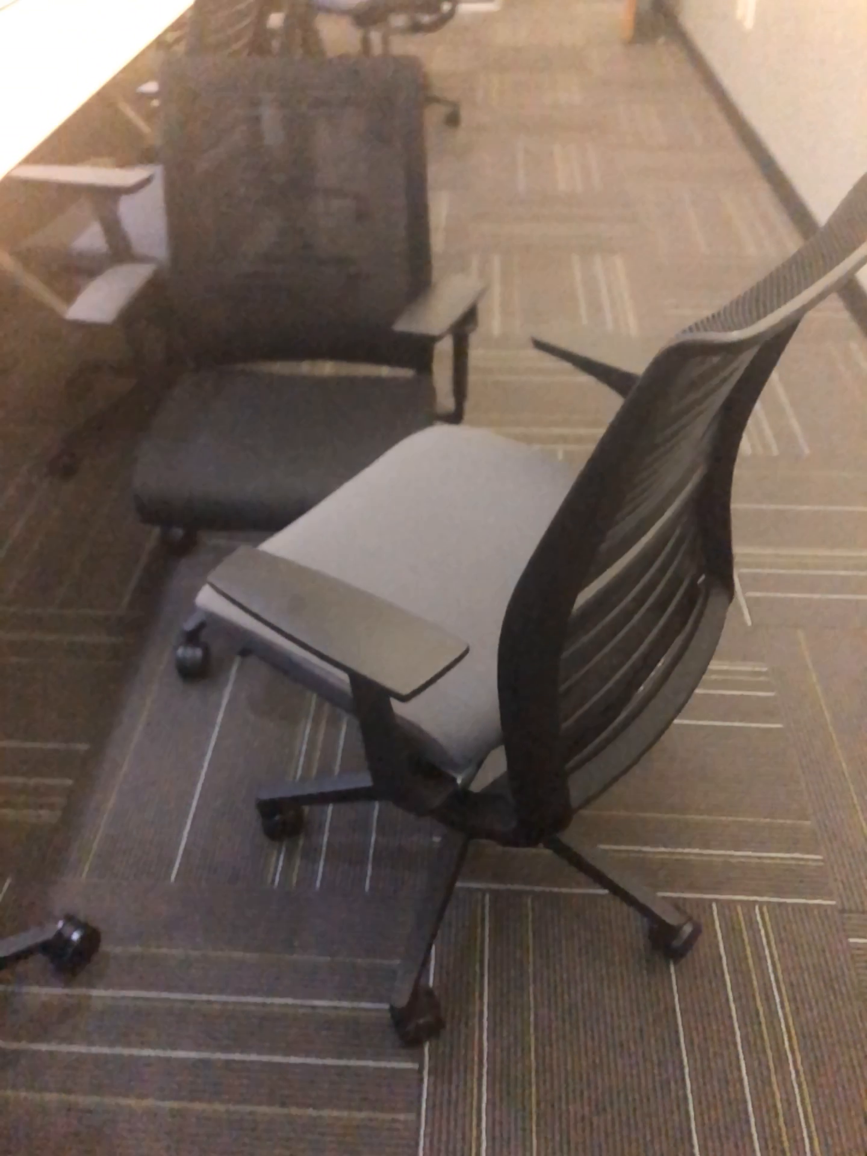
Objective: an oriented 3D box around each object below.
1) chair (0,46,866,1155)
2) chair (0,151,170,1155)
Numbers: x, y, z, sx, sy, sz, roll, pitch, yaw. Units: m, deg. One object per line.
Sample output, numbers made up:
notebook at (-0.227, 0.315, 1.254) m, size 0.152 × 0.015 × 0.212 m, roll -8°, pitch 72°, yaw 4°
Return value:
chair at (0.075, 0.002, 1.160) m, size 0.711 × 0.962 × 0.725 m, roll 23°, pitch 45°, yaw 27°
chair at (-0.841, 0.265, 0.856) m, size 0.720 × 0.962 × 0.736 m, roll 15°, pitch 42°, yaw 18°
